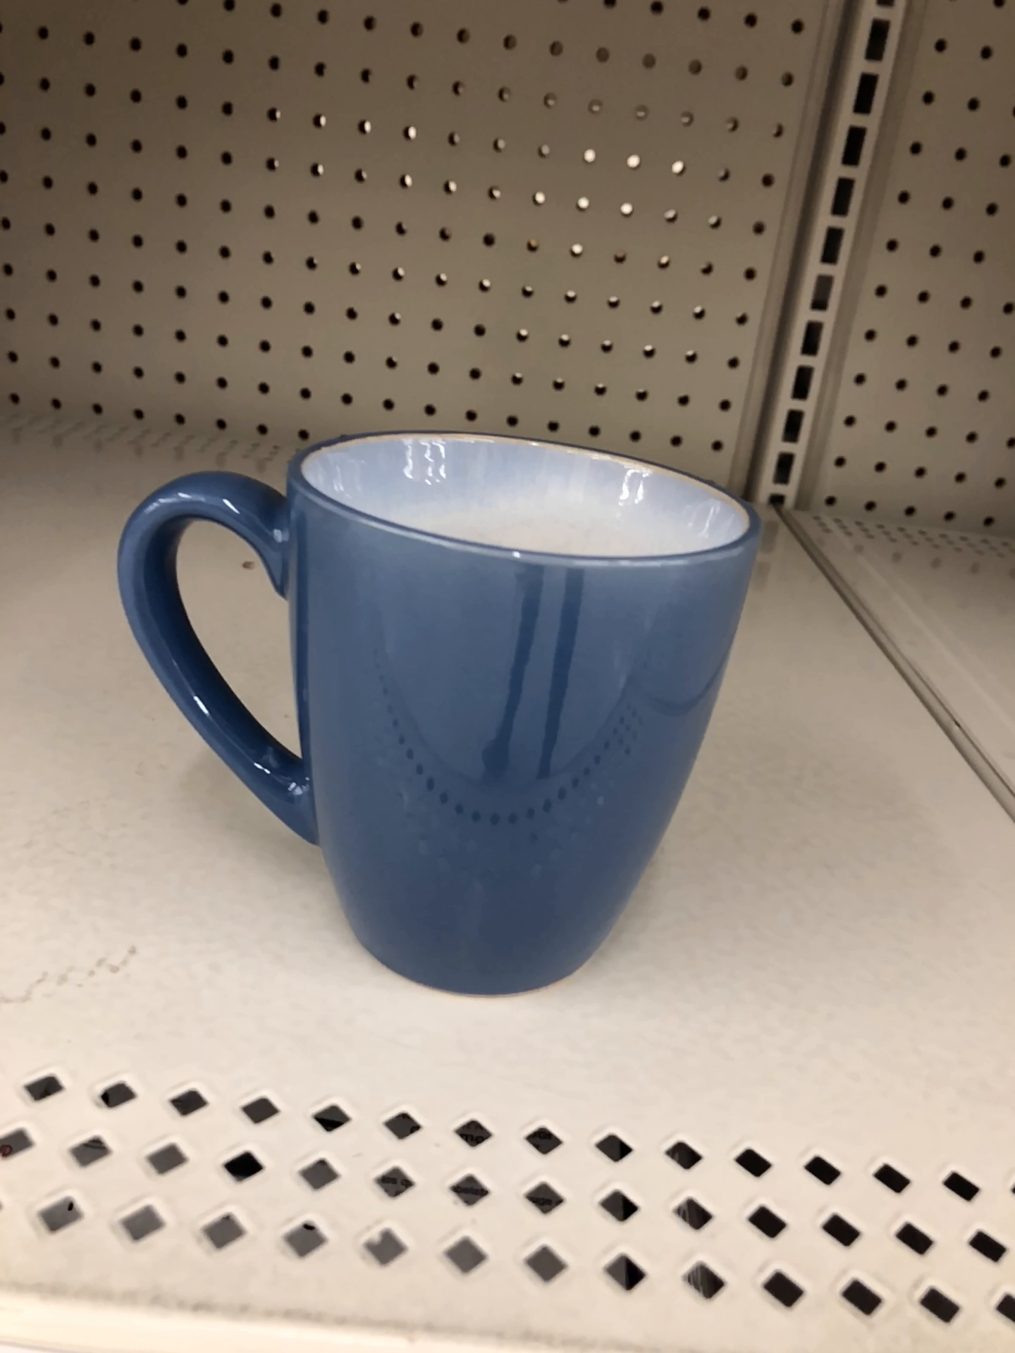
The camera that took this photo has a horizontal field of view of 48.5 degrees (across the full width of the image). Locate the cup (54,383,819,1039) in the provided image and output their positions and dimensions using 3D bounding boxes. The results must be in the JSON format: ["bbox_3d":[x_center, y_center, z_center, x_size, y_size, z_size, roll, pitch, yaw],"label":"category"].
[{"bbox_3d":[-0.015,0.000,0.249,0.127,0.098,0.097,7,23,0],"label":"cup"}]
